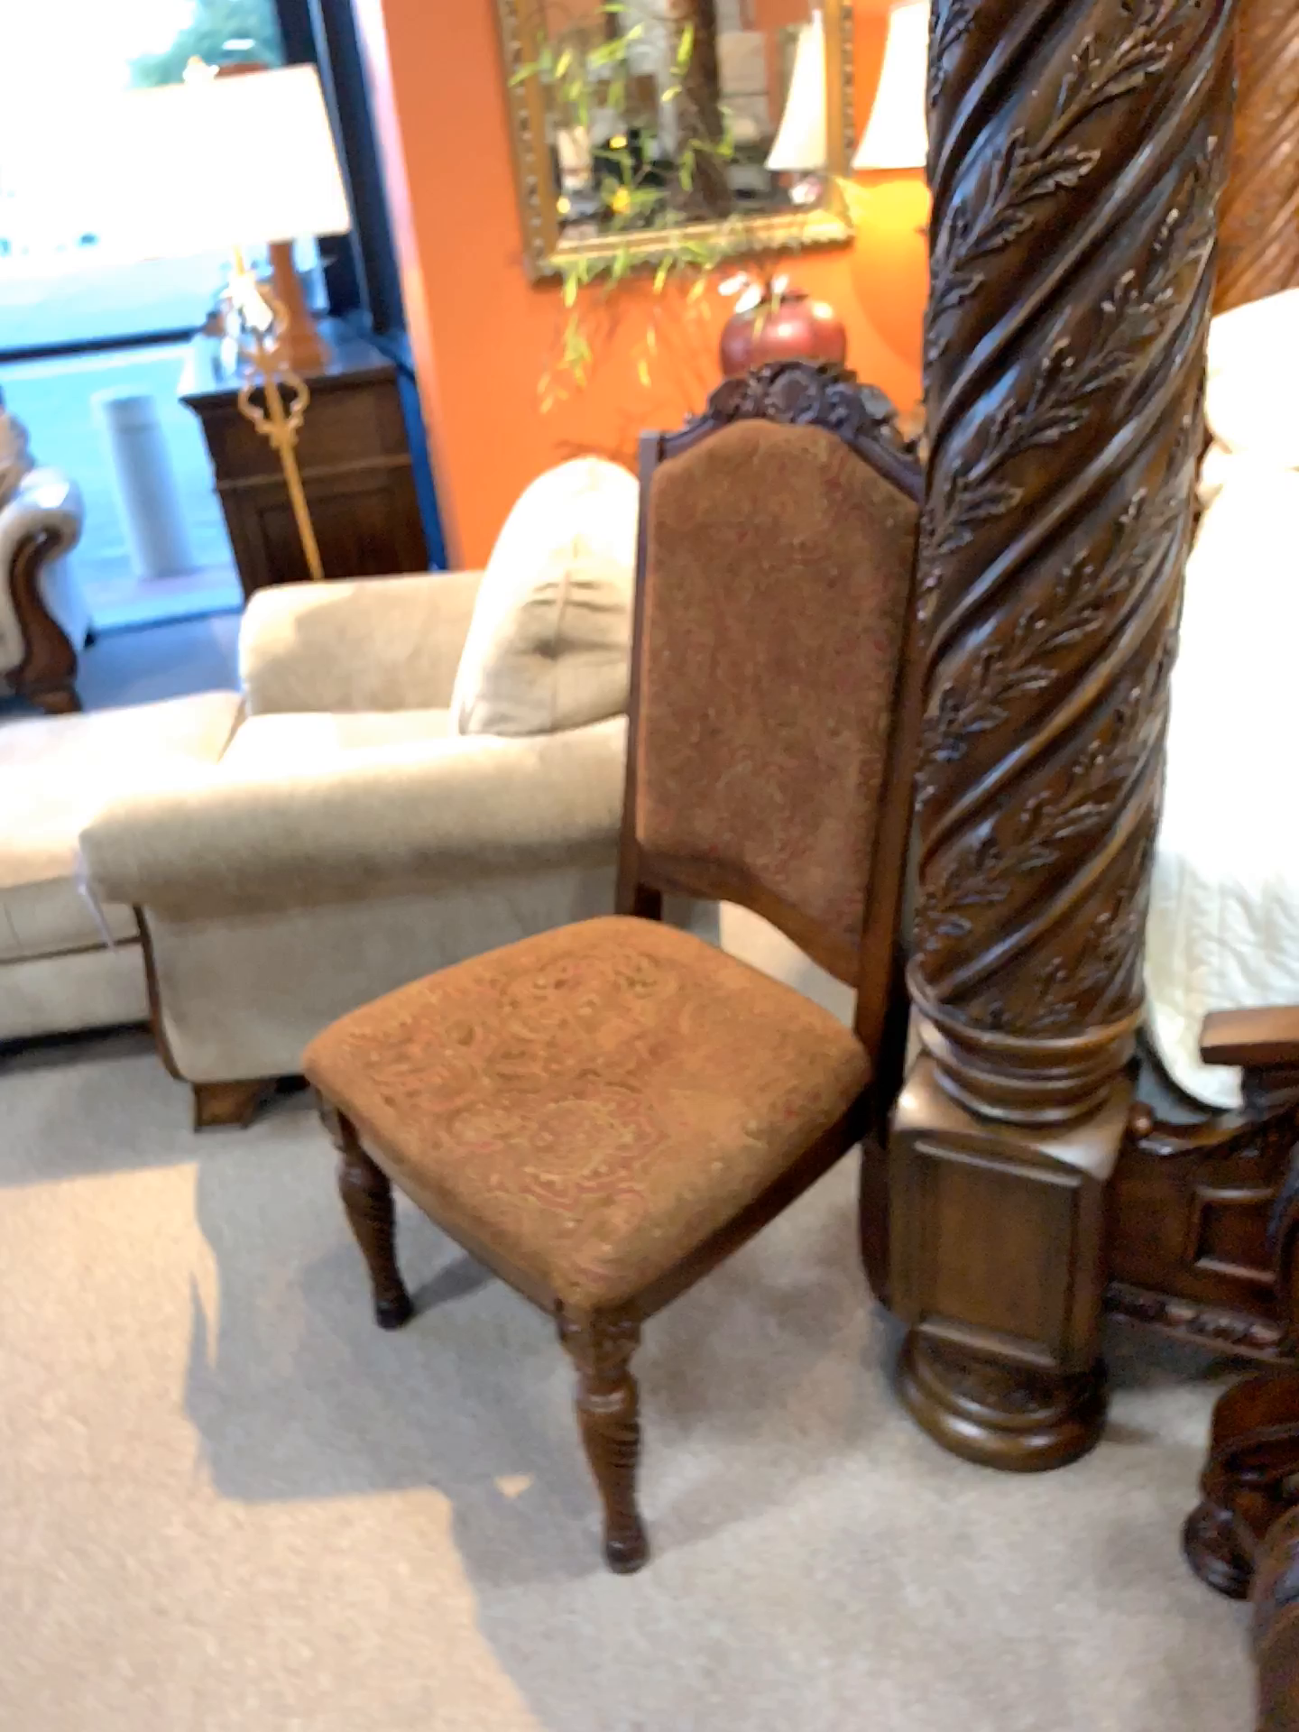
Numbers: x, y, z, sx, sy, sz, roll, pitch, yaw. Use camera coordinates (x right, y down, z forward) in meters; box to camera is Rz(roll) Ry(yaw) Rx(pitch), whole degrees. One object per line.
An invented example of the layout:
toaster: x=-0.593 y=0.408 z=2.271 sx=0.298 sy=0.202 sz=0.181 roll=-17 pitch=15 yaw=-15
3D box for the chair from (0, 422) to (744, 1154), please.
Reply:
chair: x=-0.350 y=-0.182 z=2.256 sx=0.897 sy=0.865 sz=0.884 roll=-5 pitch=27 yaw=1

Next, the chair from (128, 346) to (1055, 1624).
chair: x=-0.015 y=0.071 z=1.498 sx=0.638 sy=1.123 sz=0.592 roll=-25 pitch=33 yaw=-33
